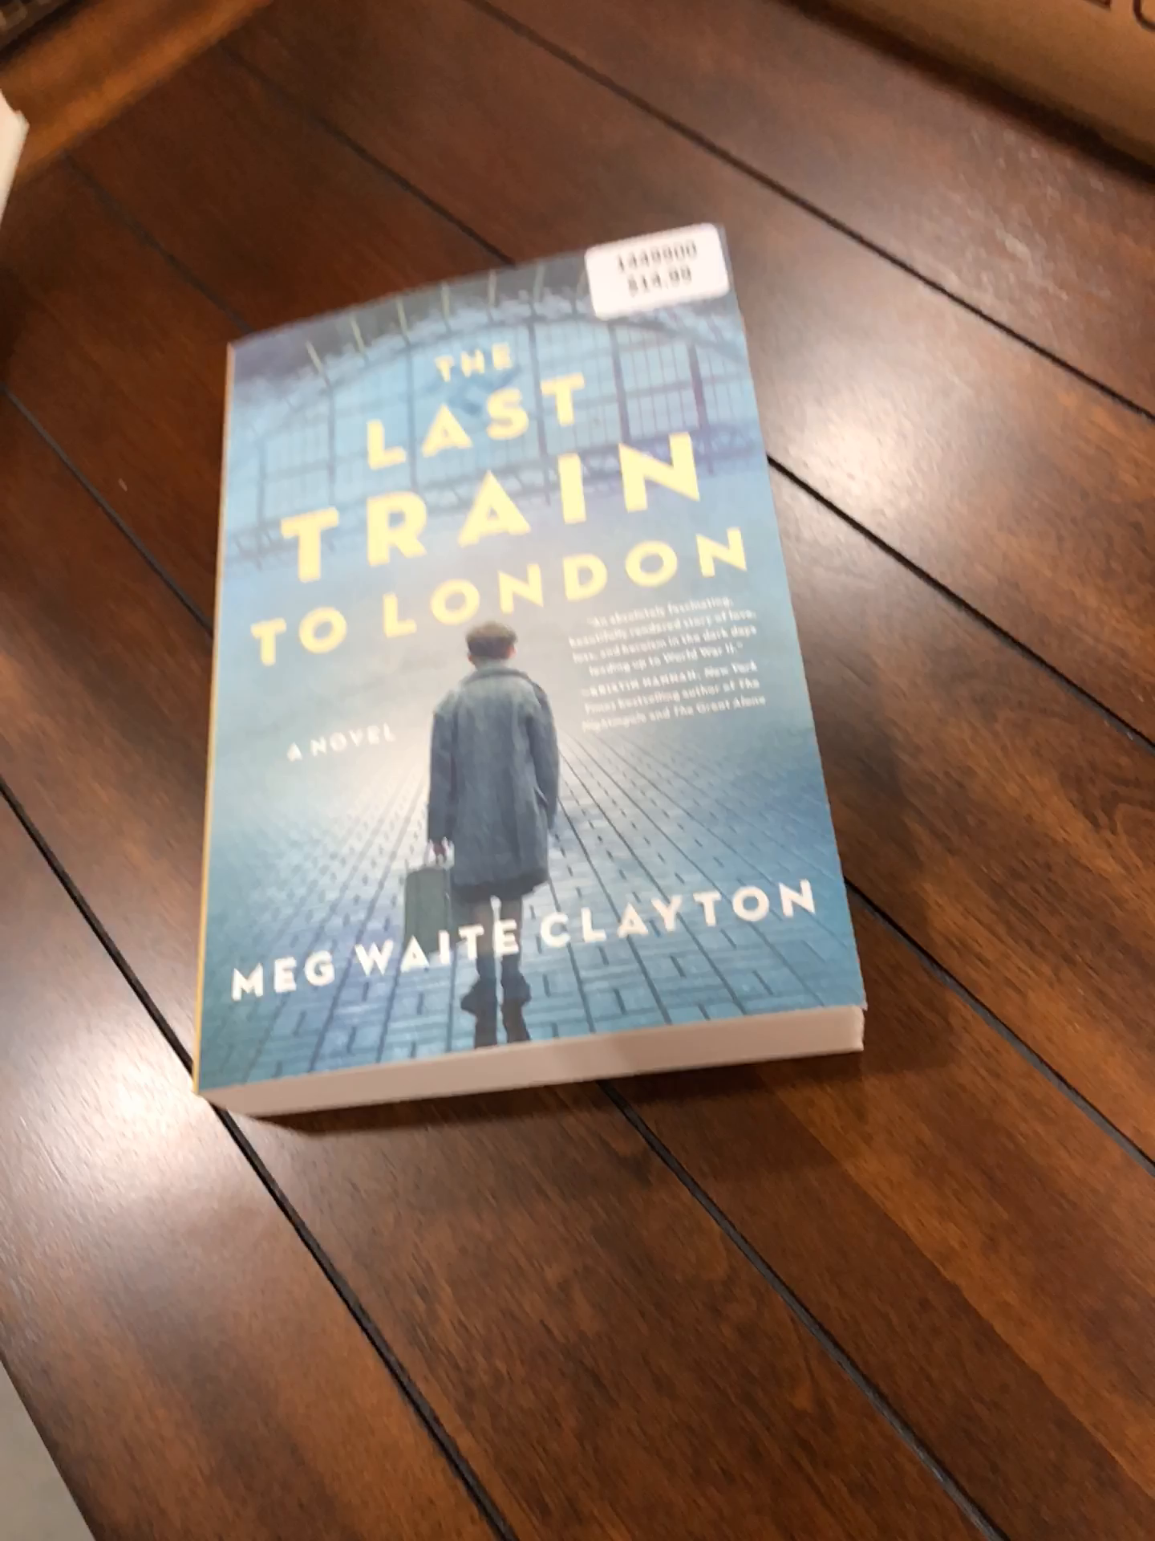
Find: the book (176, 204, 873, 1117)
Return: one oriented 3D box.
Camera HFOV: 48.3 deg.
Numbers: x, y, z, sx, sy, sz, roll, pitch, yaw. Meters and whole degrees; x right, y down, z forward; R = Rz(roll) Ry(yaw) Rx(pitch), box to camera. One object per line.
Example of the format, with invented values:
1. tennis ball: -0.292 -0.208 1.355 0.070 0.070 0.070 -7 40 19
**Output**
1. book: -0.018 -0.033 0.335 0.151 0.041 0.220 -9 65 11
